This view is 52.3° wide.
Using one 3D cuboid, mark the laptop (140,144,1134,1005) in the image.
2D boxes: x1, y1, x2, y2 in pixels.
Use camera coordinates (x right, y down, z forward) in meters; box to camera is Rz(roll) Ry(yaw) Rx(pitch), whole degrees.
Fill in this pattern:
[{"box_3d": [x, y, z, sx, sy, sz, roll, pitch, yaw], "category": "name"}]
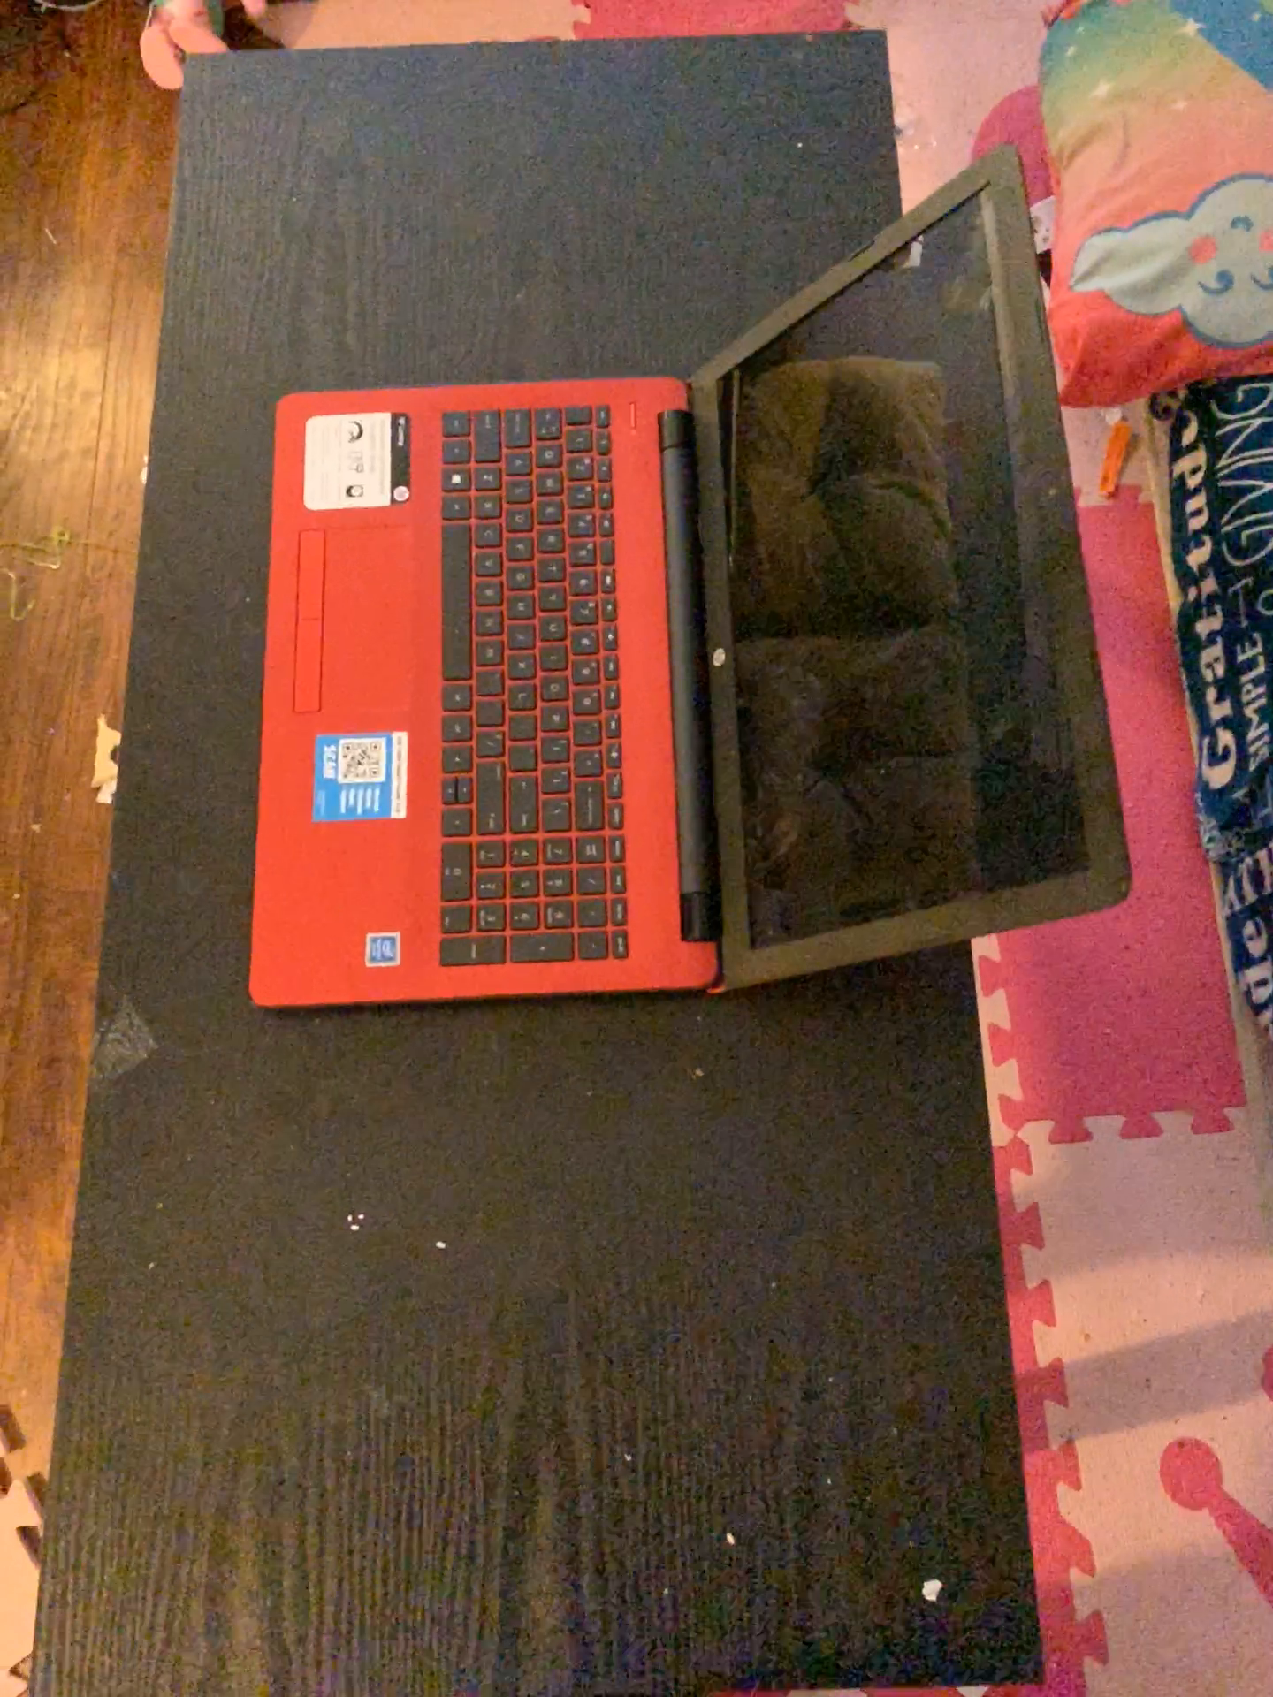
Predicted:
[{"box_3d": [-0.010, -0.129, 0.667, 0.409, 0.170, 0.376, -3, 74, 1], "category": "laptop"}]
